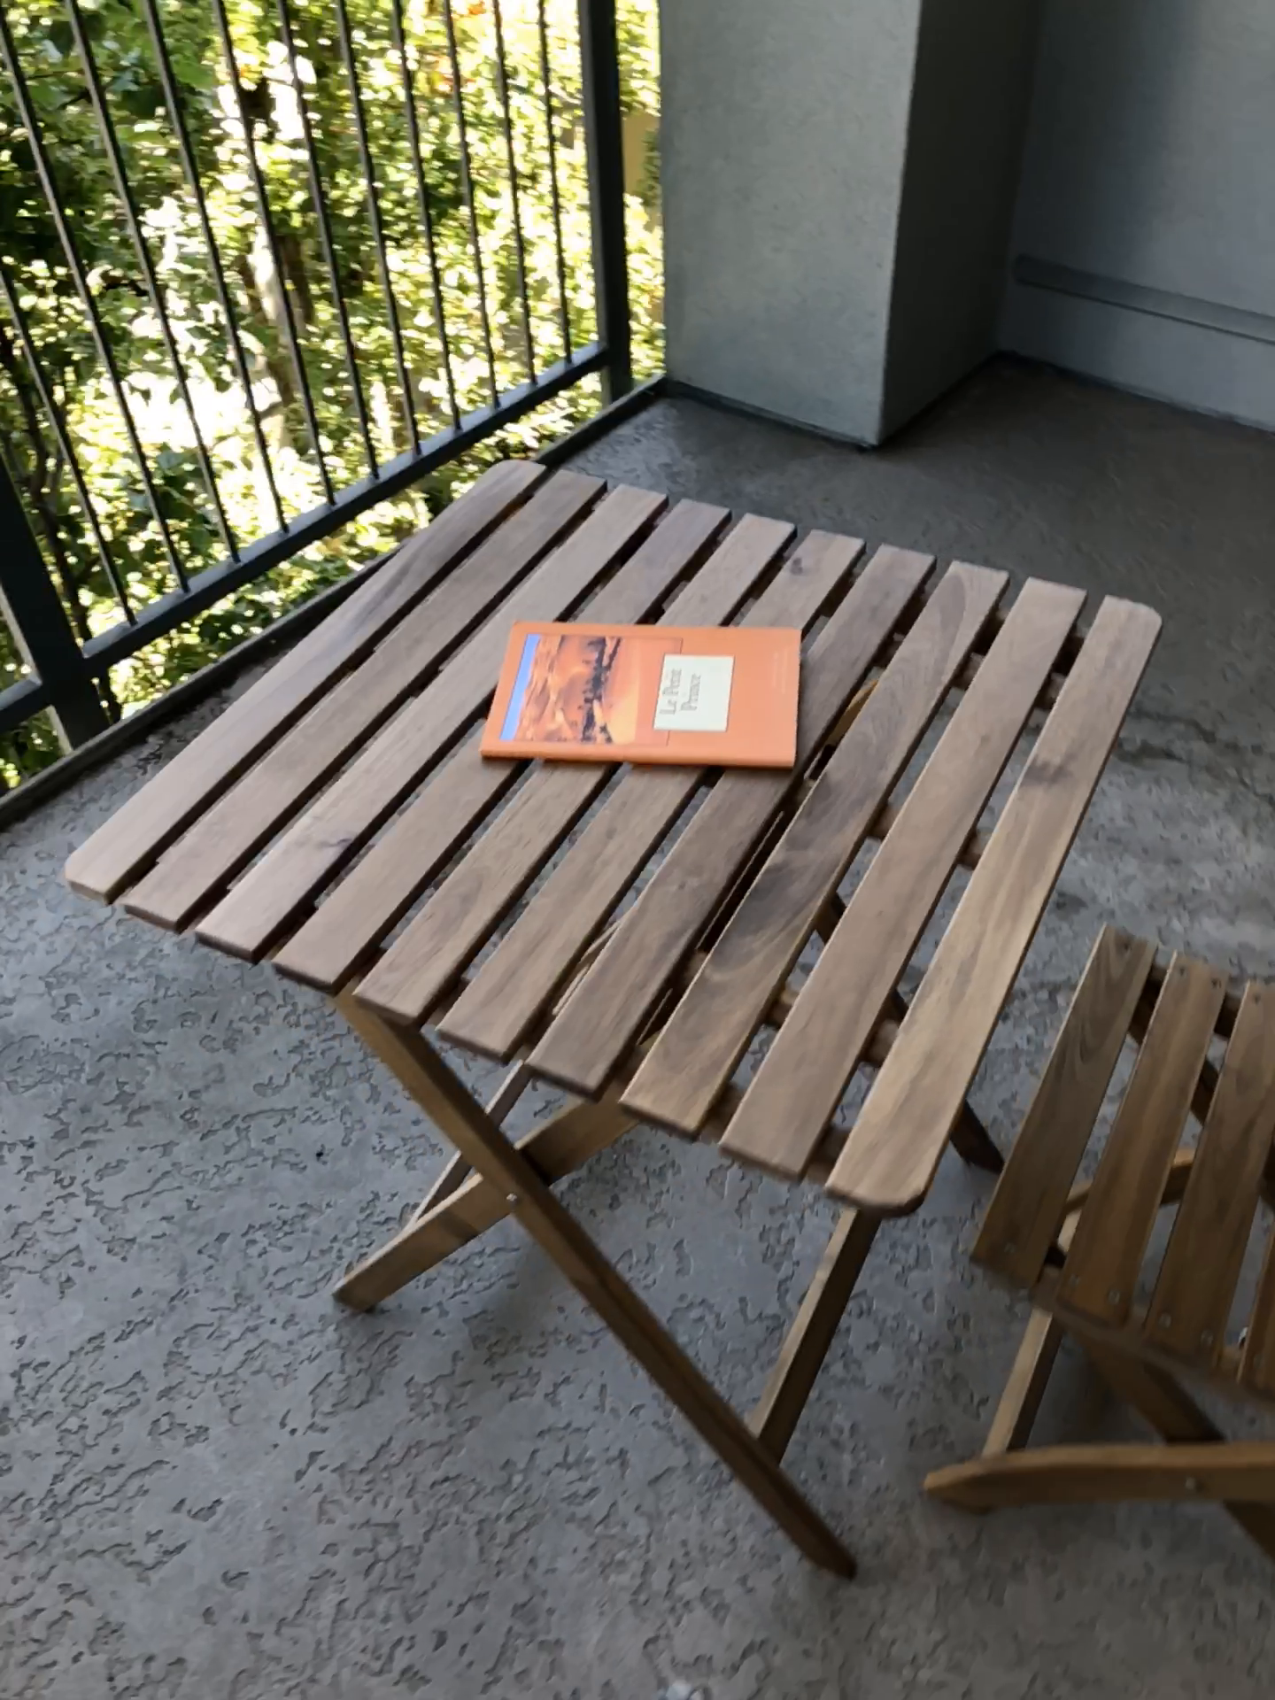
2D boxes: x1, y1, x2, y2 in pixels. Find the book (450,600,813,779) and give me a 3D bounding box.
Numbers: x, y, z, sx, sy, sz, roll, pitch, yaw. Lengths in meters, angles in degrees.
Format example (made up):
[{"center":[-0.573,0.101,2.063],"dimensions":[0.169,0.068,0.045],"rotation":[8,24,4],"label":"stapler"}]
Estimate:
[{"center":[0.002,-0.124,1.044],"dimensions":[0.250,0.010,0.181],"rotation":[3,46,6],"label":"book"}]
